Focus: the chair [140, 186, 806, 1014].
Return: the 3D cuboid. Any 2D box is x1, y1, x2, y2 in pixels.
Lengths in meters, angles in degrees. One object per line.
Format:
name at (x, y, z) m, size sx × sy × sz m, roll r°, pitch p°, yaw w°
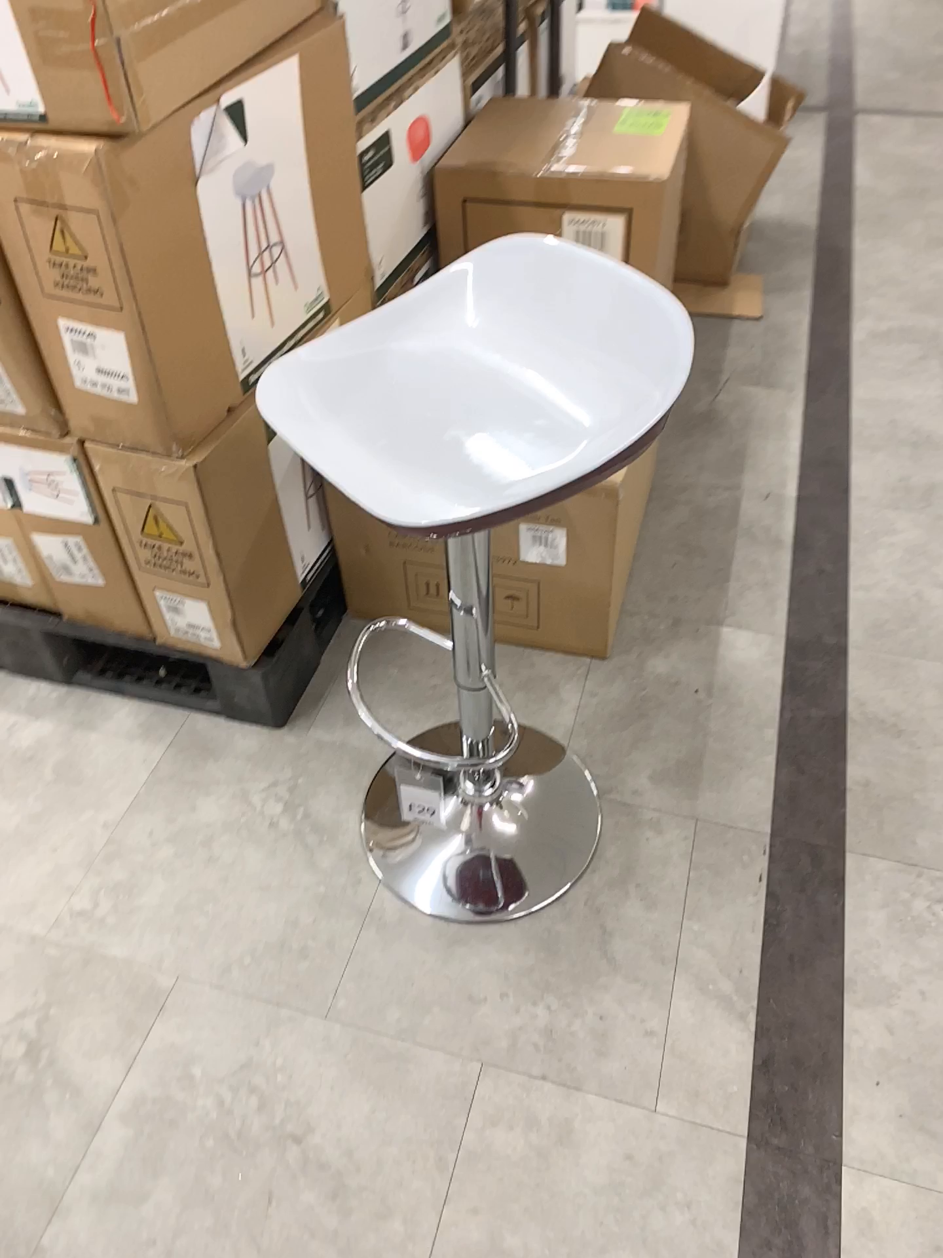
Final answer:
chair at (0.009, -0.015, 1.184) m, size 0.454 × 0.797 × 0.446 m, roll -31°, pitch 50°, yaw -26°
